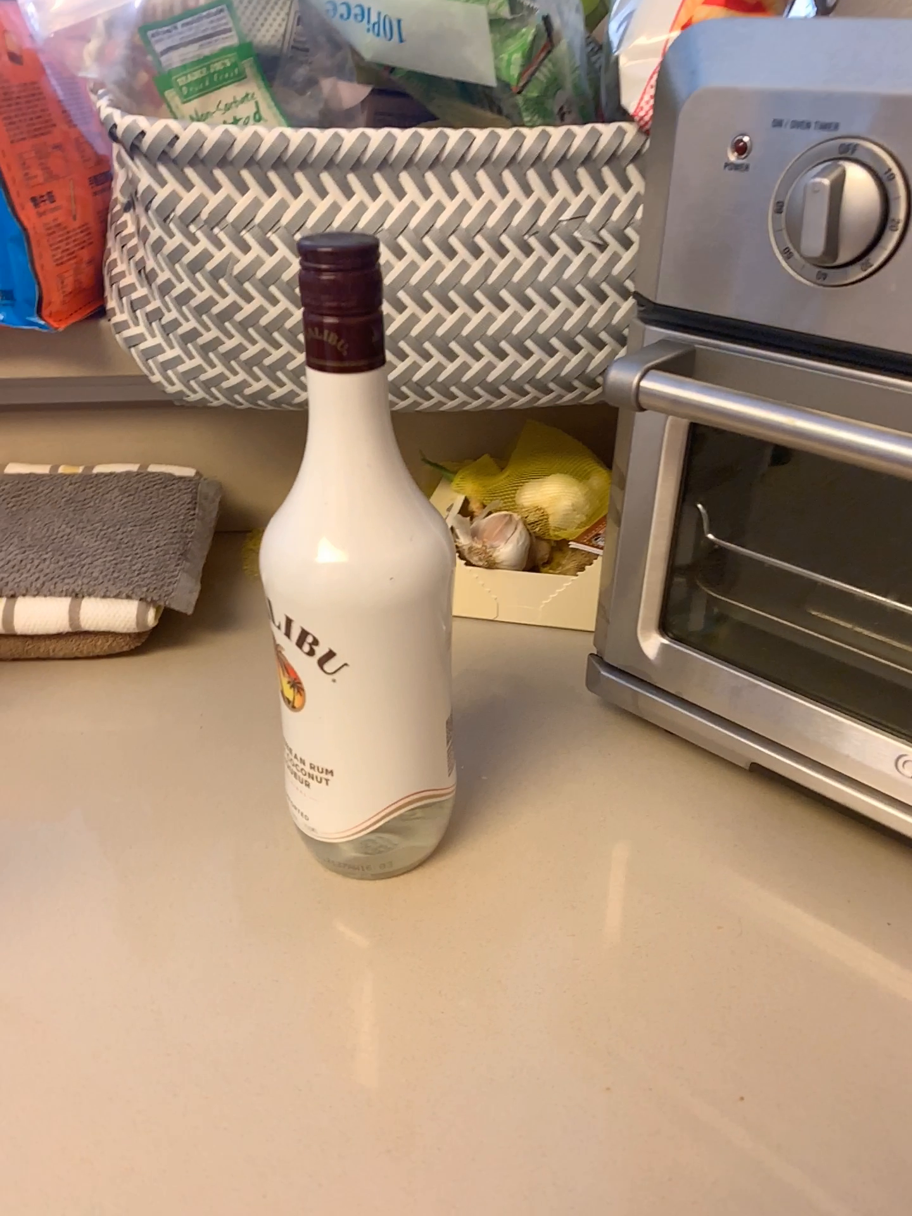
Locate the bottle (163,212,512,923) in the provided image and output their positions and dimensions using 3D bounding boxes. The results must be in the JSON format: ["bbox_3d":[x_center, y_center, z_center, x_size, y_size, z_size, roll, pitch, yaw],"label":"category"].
[{"bbox_3d":[-0.038,-0.010,0.371,0.080,0.258,0.080,0,31,0],"label":"bottle"}]
